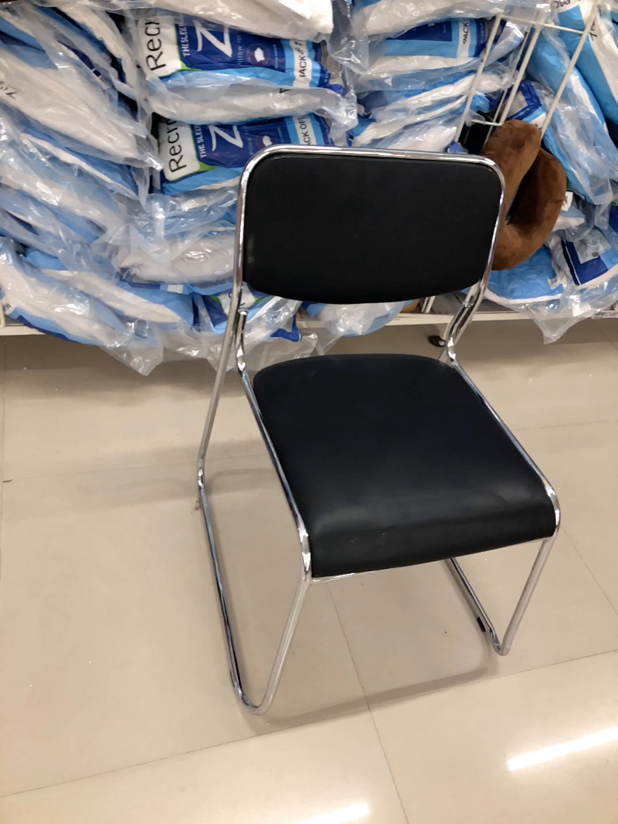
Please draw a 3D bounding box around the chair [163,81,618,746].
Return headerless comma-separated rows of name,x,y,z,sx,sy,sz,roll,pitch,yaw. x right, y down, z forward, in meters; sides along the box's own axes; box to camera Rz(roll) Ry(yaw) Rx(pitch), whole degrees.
chair,0.120,0.026,1.078,0.571,0.794,0.563,-4,46,-20
